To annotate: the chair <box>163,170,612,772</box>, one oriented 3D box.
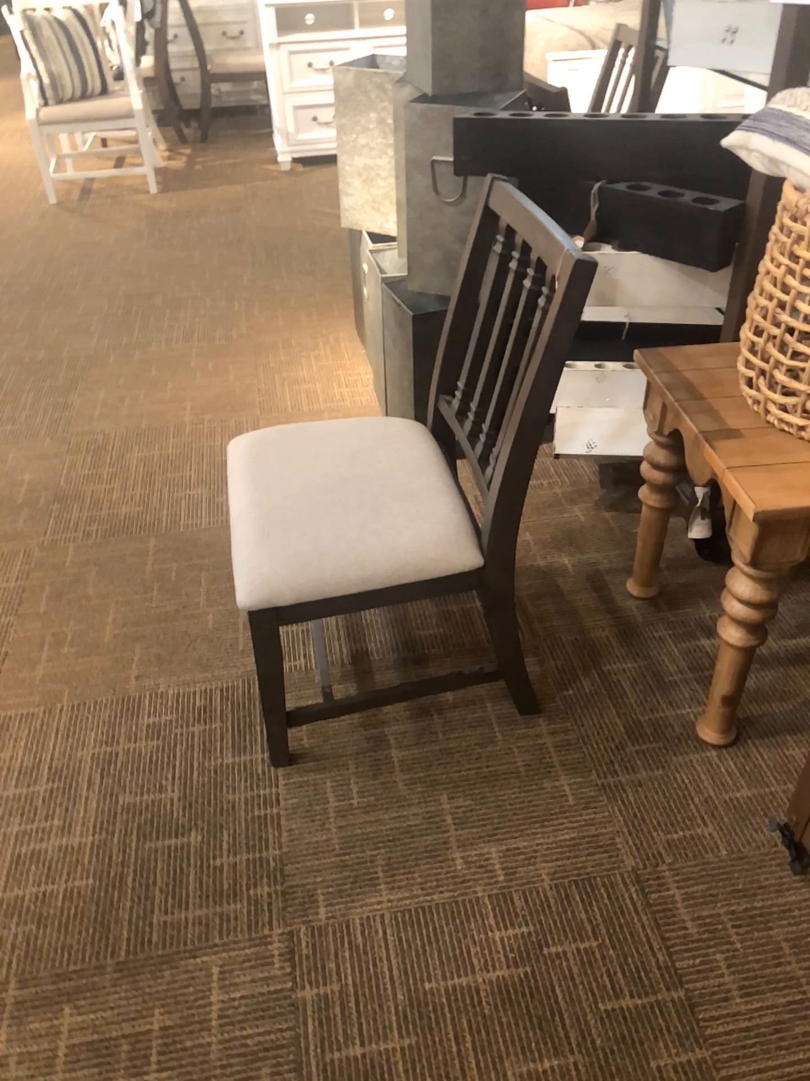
[{"bbox_3d":[-0.043,-0.129,1.674,0.600,0.905,0.583,-6,36,-6],"label":"chair"}]
